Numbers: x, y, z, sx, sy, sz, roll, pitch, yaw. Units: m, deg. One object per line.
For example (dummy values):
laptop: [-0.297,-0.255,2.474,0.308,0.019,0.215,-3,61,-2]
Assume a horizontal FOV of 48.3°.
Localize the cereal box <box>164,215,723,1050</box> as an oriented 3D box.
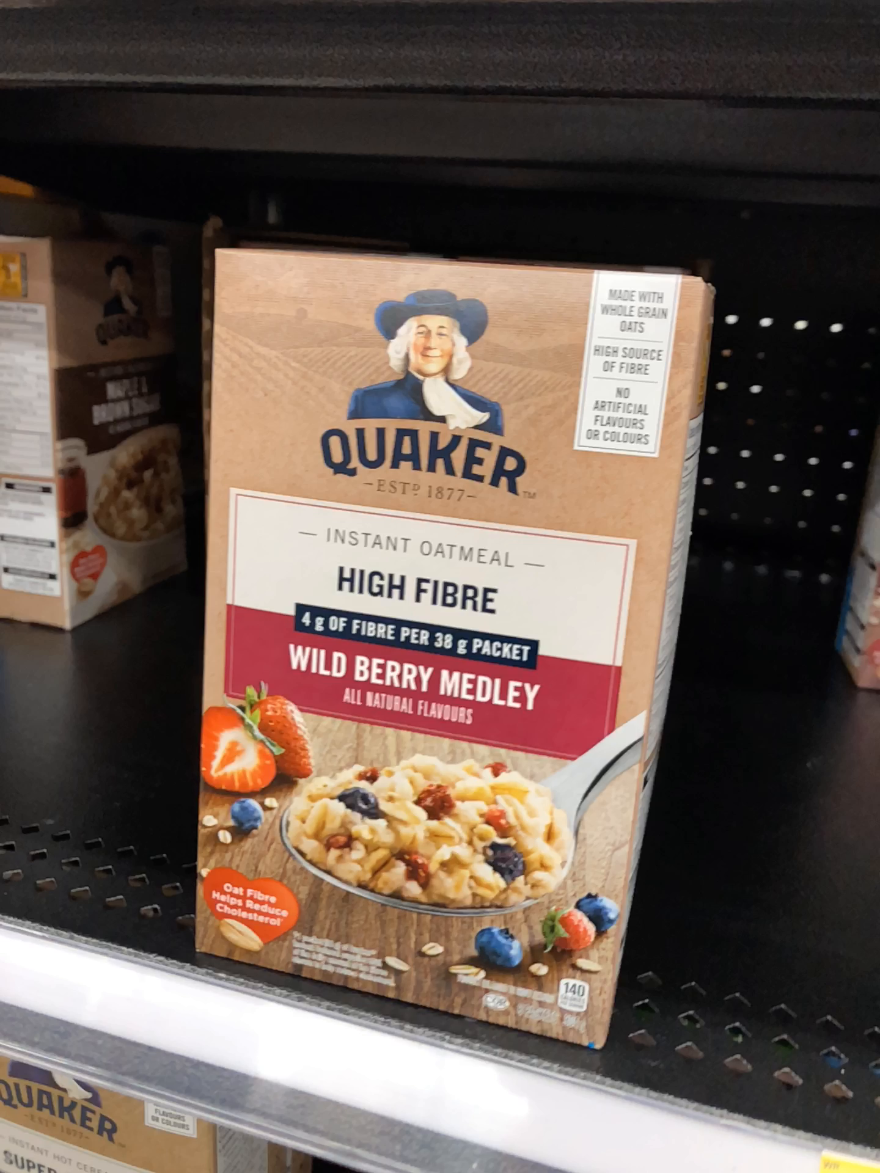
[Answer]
cereal box: [-0.002,0.008,0.275,0.130,0.199,0.060,8,14,14]
